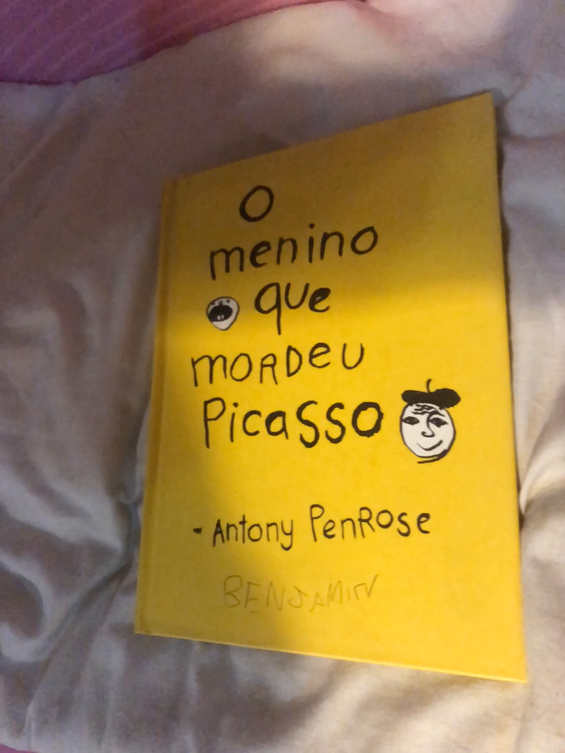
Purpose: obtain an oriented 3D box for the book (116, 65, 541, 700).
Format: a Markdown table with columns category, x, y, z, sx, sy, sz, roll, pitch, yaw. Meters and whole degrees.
| category | x | y | z | sx | sy | sz | roll | pitch | yaw |
| --- | --- | --- | --- | --- | --- | --- | --- | --- | --- |
| book | 0.011 | -0.001 | 0.285 | 0.180 | 0.024 | 0.240 | -5 | 77 | 27 |
